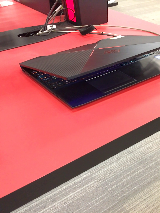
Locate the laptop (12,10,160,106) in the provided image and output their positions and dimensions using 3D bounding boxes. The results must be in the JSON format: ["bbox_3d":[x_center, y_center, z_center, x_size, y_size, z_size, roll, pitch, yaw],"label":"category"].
[{"bbox_3d":[0.064,-0.148,0.565,0.352,0.093,0.234,-26,49,-20],"label":"laptop"}]
